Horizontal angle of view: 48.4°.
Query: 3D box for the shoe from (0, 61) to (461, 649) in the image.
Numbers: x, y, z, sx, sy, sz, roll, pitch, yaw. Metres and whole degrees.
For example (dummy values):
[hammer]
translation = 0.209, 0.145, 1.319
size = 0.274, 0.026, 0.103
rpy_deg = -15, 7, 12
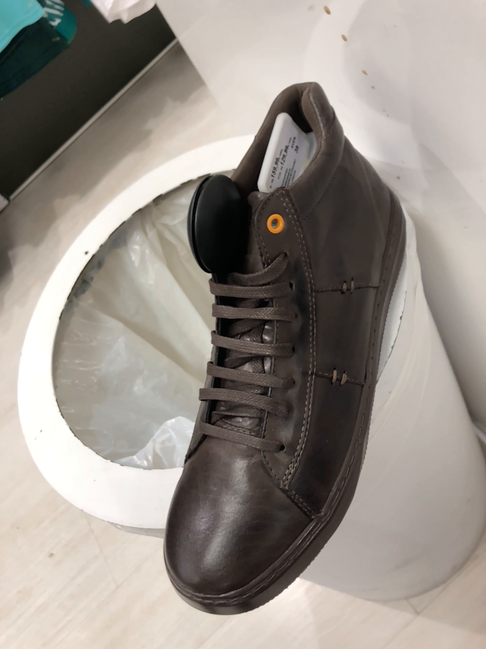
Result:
[shoe]
translation = 0.012, 0.017, 0.297
size = 0.121, 0.139, 0.270
rpy_deg = 12, 69, 34
